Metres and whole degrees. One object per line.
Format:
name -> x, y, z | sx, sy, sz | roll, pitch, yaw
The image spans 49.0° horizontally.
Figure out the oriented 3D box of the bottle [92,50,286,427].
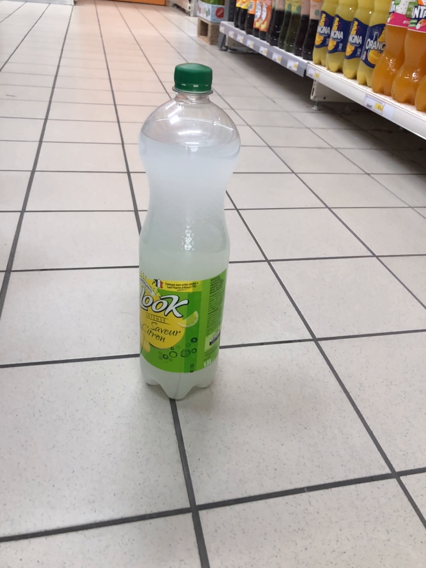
bottle -> -0.031, -0.032, 0.423 | 0.100, 0.308, 0.101 | 5, 32, -3
